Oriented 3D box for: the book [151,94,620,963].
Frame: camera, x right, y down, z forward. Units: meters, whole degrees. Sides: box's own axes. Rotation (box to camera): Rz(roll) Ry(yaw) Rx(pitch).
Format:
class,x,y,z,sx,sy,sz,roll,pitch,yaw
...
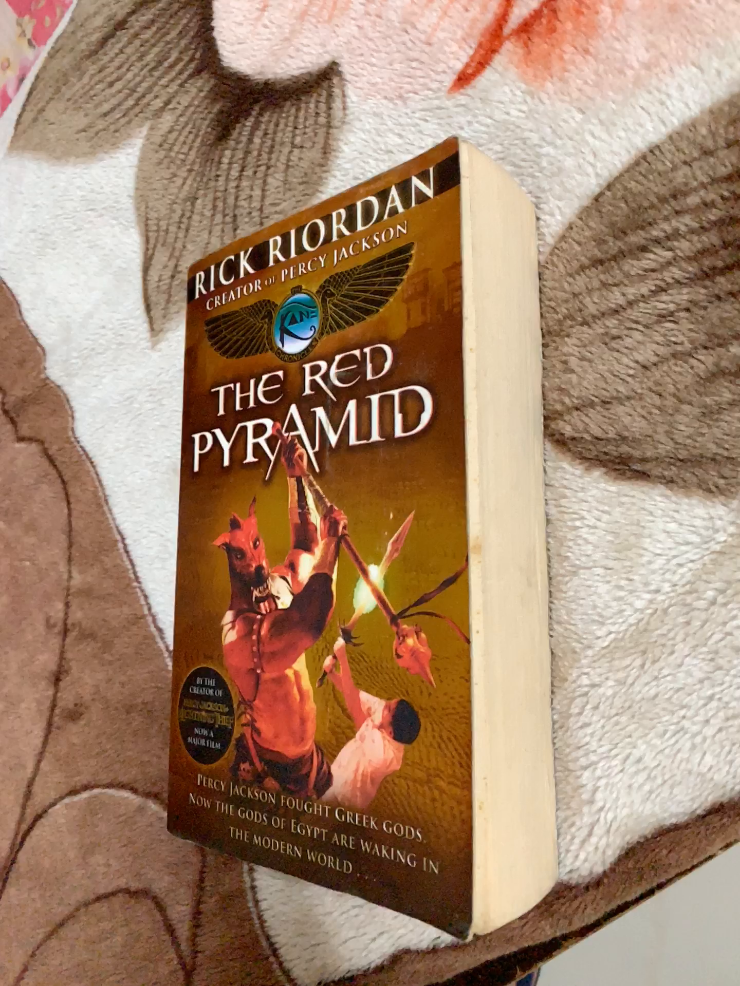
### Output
class,x,y,z,sx,sy,sz,roll,pitch,yaw
book,-0.003,0.008,0.255,0.151,0.040,0.220,-6,78,37
